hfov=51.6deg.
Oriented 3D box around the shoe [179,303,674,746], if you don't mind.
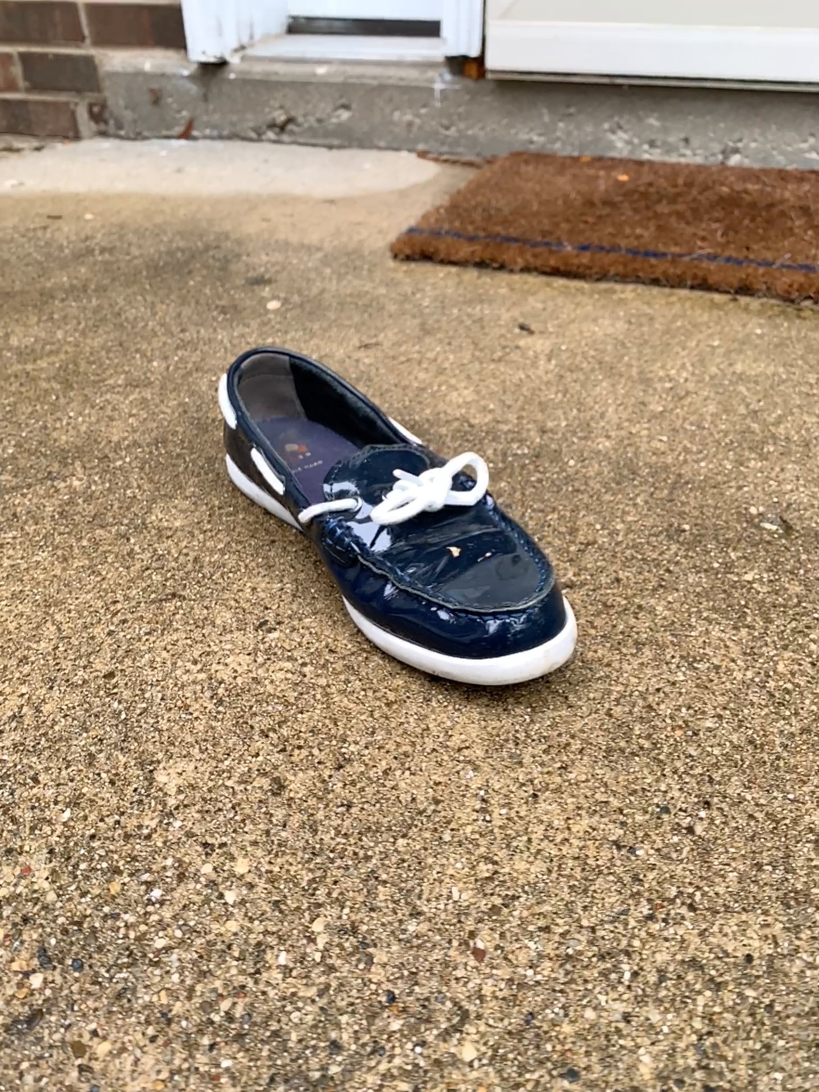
[{"bbox_3d":[-0.010,-0.032,0.406,0.101,0.083,0.246,-21,40,-28],"label":"shoe"}]
